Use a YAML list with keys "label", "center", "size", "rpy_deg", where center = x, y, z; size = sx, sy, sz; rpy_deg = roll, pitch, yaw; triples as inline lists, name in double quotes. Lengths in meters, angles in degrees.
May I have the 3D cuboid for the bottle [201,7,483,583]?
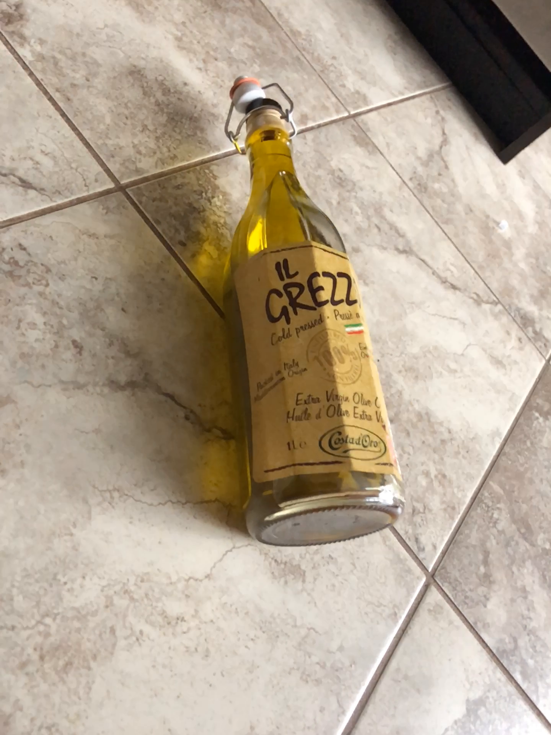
- label: "bottle"
  center: [0.019, -0.062, 0.381]
  size: [0.090, 0.100, 0.350]
  rpy_deg: [17, 53, -30]
